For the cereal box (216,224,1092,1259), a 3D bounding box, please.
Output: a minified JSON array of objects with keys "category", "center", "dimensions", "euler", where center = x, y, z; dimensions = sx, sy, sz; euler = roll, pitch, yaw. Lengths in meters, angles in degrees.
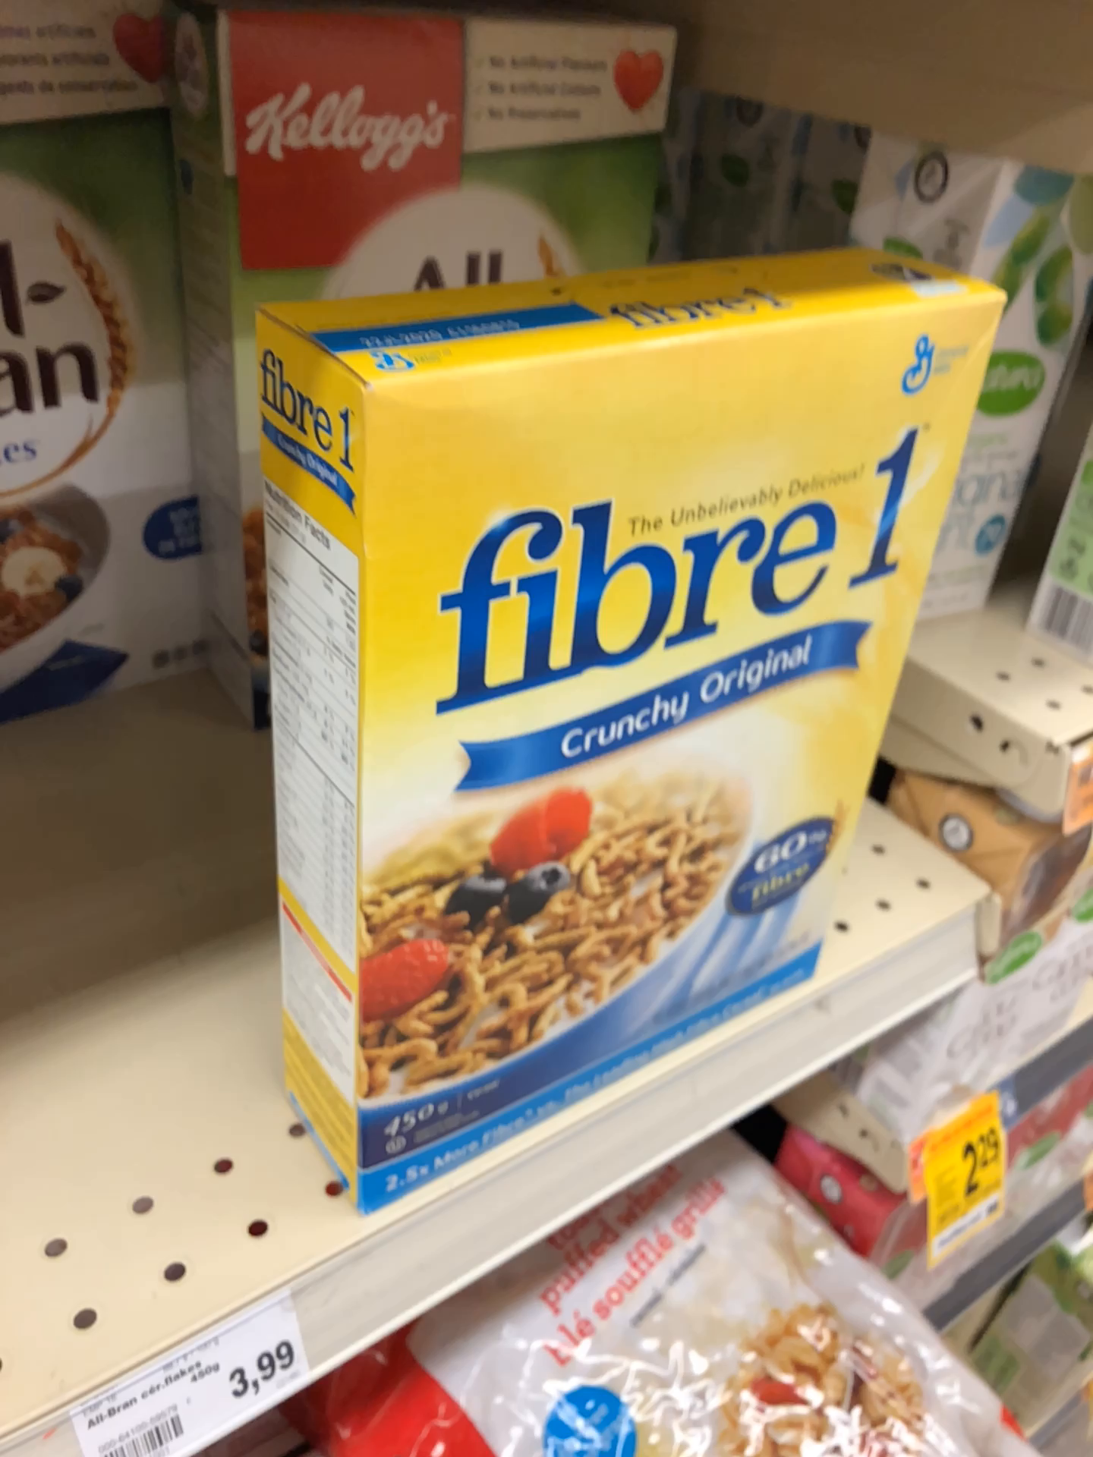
[{"category":"cereal box","center":[0.026,0.002,0.345],"dimensions":[0.211,0.248,0.060],"euler":[-19,42,-32]}]
